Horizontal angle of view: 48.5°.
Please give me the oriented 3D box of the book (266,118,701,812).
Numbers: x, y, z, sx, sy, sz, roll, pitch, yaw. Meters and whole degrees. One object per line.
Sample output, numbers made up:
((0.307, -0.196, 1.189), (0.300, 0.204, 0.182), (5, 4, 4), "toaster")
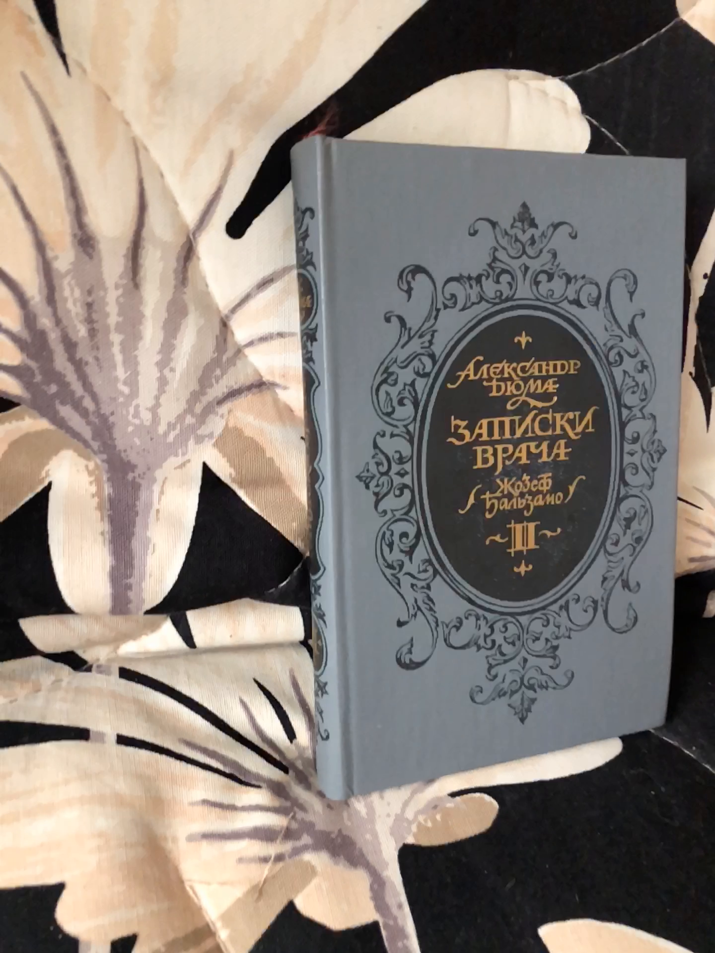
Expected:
((0.047, -0.005, 0.270), (0.140, 0.030, 0.206), (-5, 99, -18), "book")
